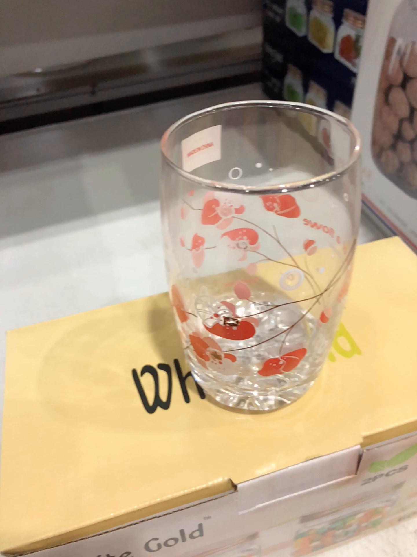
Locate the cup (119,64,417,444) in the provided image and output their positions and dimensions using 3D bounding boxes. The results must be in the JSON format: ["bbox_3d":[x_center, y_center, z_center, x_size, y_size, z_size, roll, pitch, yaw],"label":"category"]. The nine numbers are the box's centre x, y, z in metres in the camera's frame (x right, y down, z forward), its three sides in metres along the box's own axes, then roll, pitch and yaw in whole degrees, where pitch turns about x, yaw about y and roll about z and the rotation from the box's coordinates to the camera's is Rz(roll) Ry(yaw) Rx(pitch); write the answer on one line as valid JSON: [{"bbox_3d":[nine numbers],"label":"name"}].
[{"bbox_3d":[0.017,-0.007,0.179,0.080,0.109,0.080,-2,44,2],"label":"cup"}]
